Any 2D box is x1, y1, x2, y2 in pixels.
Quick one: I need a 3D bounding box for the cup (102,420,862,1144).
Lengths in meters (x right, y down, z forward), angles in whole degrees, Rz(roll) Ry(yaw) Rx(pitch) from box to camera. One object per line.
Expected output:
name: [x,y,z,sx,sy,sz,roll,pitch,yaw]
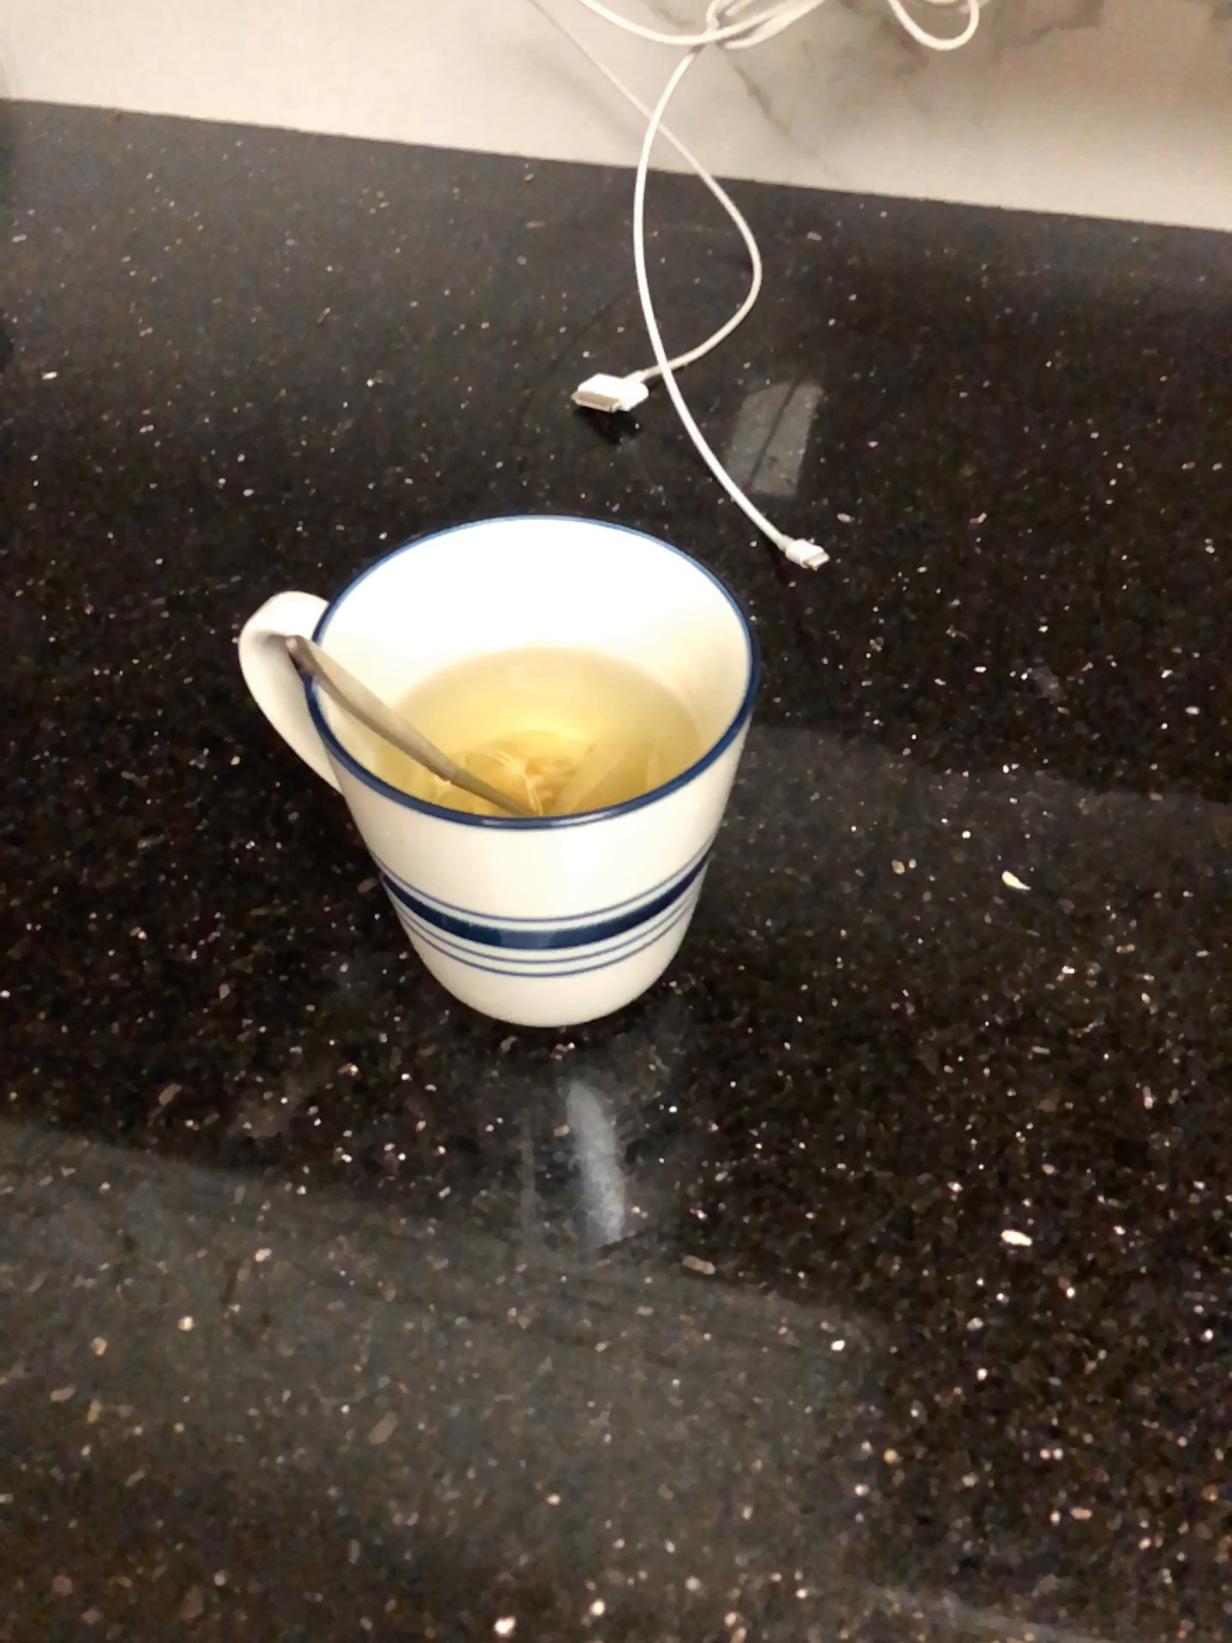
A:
cup: [-0.024,-0.010,0.293,0.120,0.090,0.080,24,55,18]
